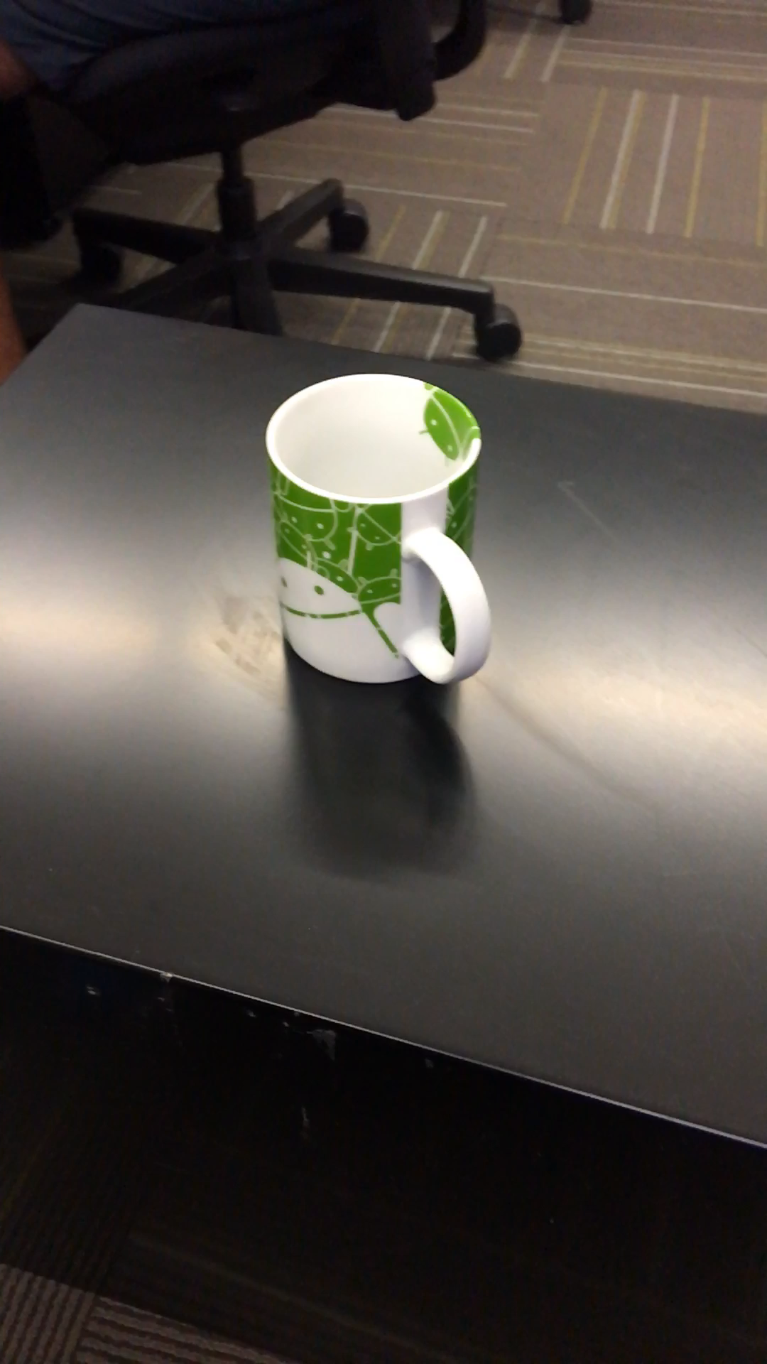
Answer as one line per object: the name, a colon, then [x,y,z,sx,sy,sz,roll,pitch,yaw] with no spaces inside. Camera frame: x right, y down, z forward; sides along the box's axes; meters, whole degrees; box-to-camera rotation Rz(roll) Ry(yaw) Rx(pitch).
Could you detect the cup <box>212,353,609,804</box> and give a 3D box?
cup: [0.007,-0.044,0.463,0.090,0.110,0.120,-31,54,-27]
